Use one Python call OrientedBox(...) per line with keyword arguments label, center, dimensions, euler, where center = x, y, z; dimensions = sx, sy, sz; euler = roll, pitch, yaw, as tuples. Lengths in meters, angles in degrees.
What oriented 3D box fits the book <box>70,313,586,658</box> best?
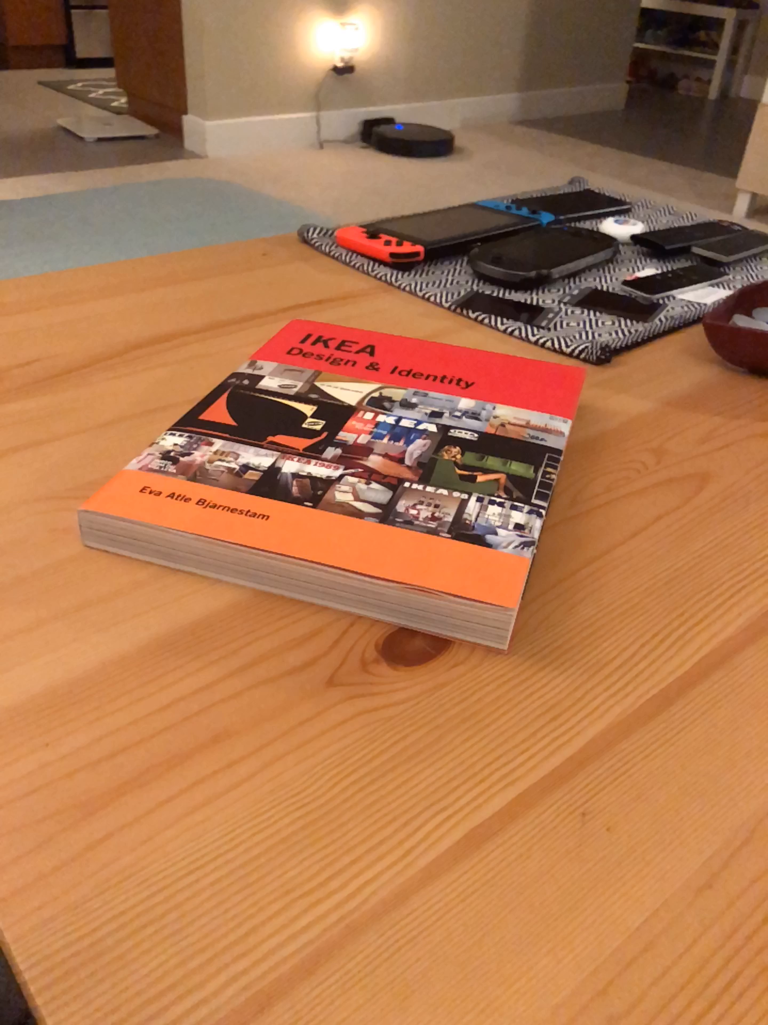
OrientedBox(label="book", center=(-0.009, -0.039, 0.489), dimensions=(0.216, 0.030, 0.256), euler=(13, 35, 13))
